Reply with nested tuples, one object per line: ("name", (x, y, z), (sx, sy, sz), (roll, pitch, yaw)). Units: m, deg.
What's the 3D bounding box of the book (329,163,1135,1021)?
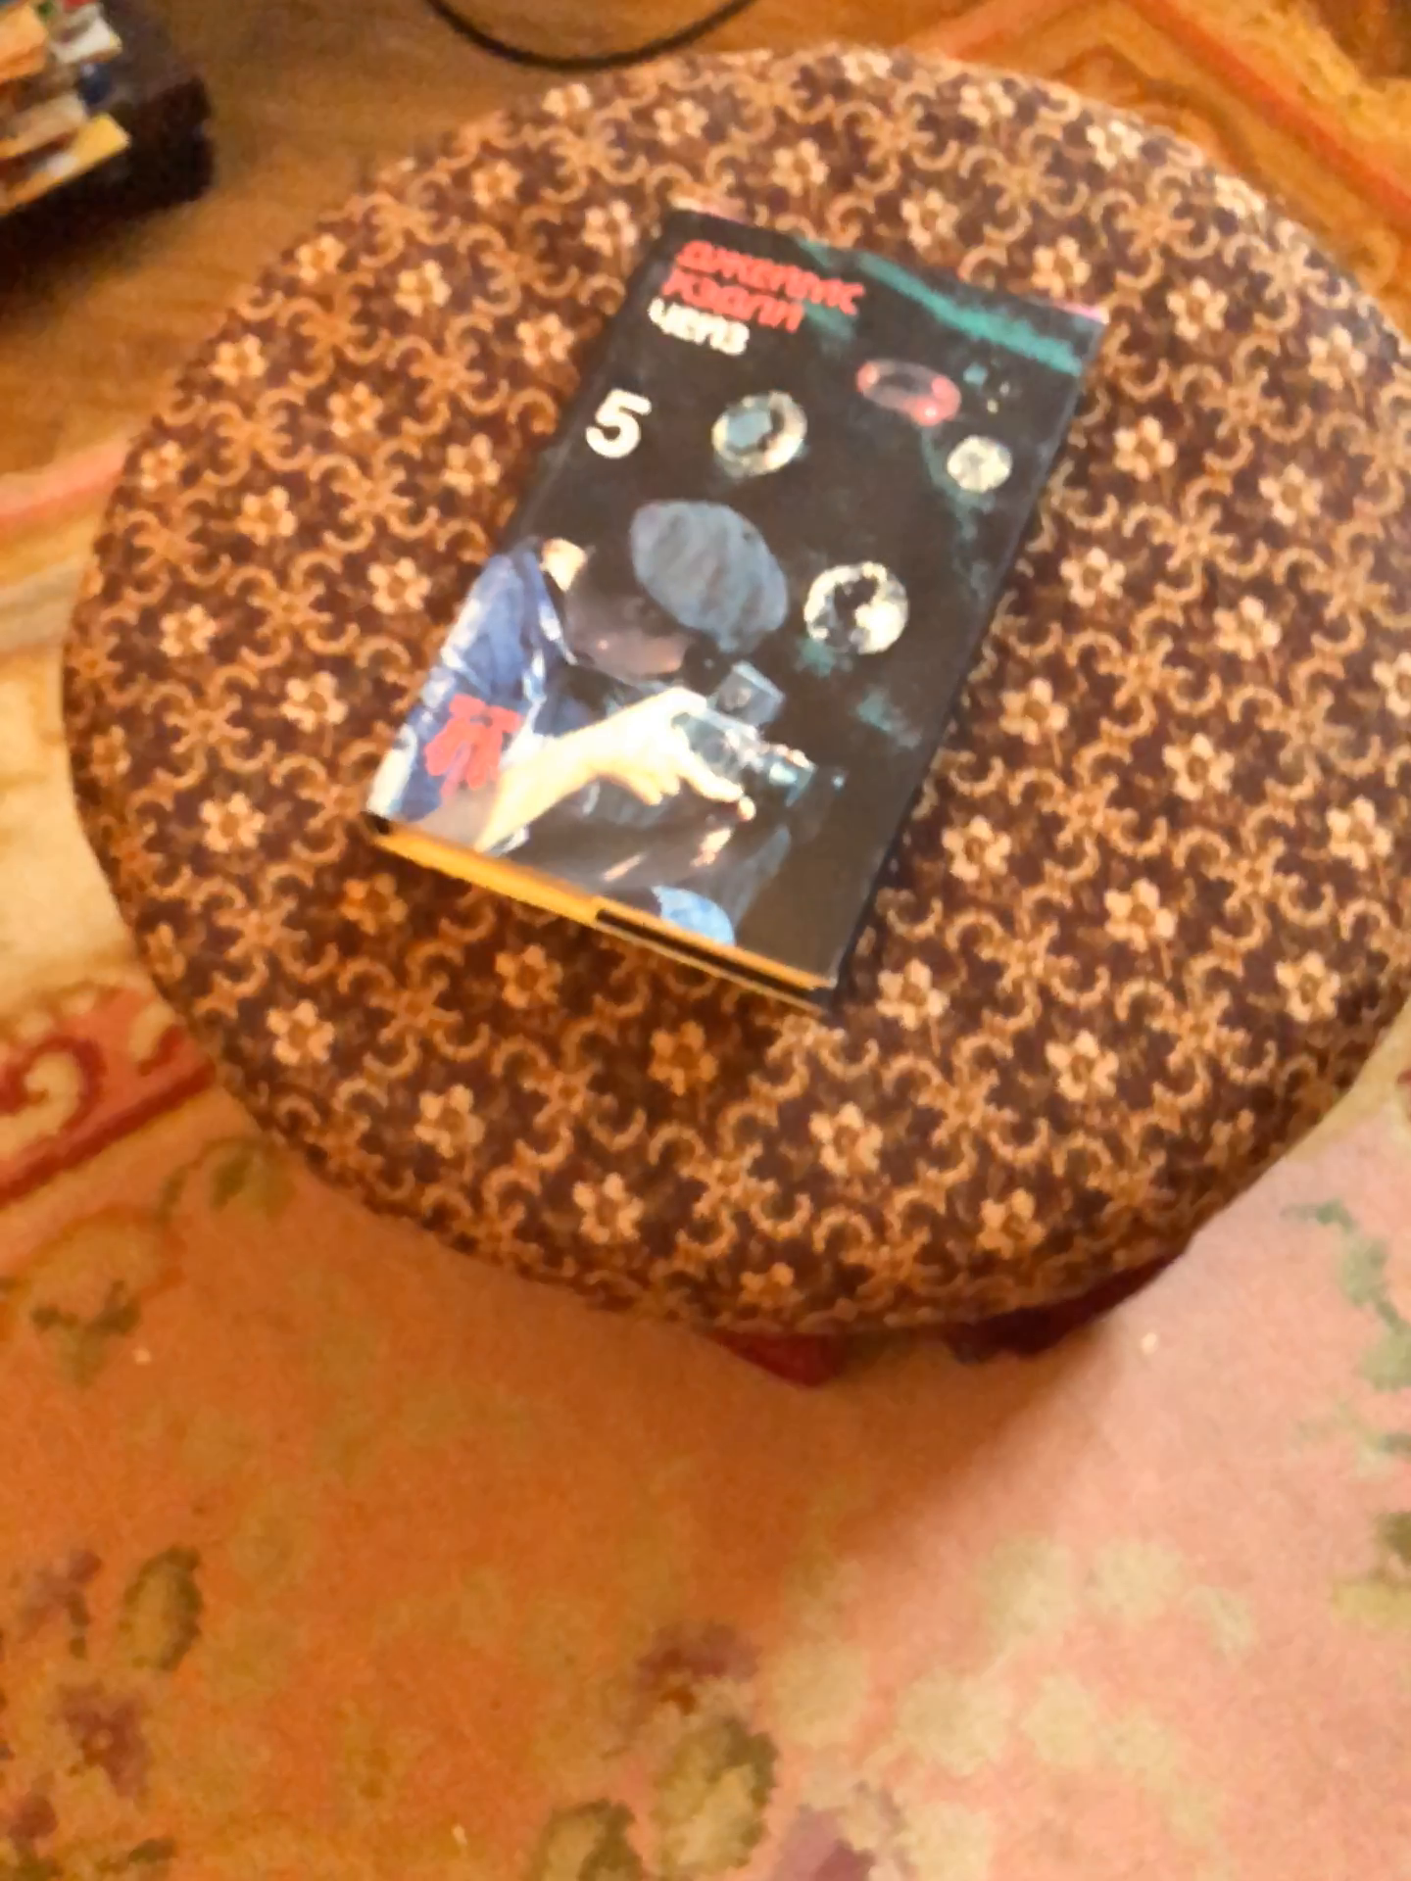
("book", (0.010, -0.100, 0.419), (0.140, 0.020, 0.205), (21, 77, 11))
